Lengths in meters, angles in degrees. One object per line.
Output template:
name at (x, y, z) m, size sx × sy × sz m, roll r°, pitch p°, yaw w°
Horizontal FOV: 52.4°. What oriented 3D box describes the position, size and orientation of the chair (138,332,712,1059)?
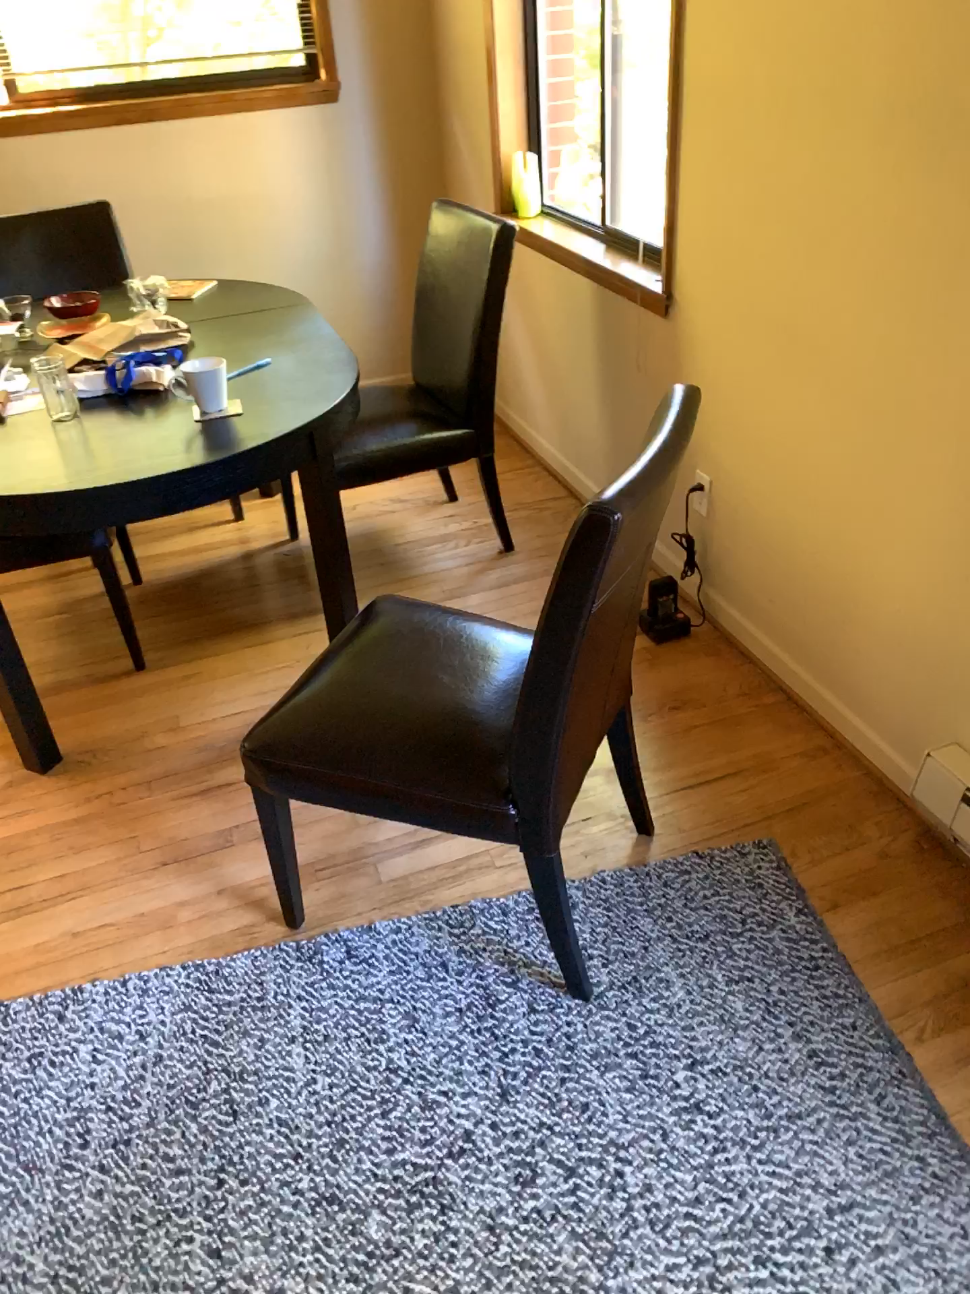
chair at (-0.024, 0.070, 1.723) m, size 0.671 × 1.034 × 0.562 m, roll 9°, pitch 36°, yaw 20°
